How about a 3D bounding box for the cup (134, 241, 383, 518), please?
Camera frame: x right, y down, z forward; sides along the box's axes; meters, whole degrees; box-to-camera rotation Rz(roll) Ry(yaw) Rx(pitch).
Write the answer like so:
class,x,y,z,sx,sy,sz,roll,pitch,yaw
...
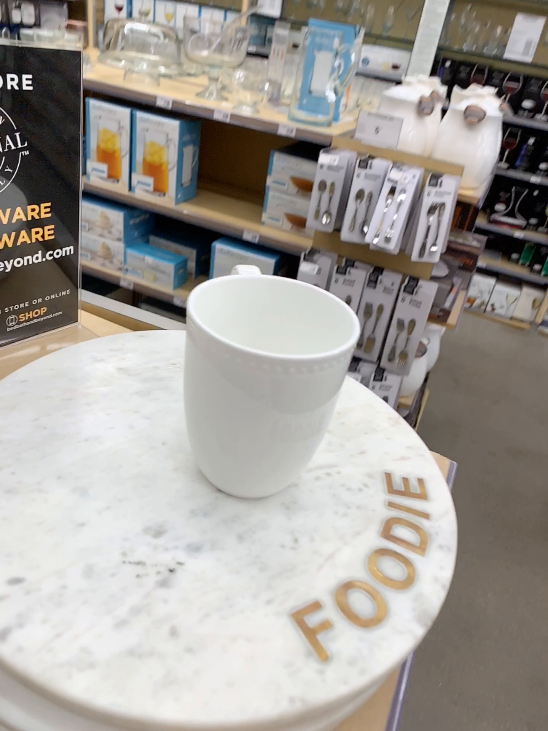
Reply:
class,x,y,z,sx,sy,sz,roll,pitch,yaw
cup,-0.021,-0.001,0.316,0.096,0.093,0.126,-3,34,-20
